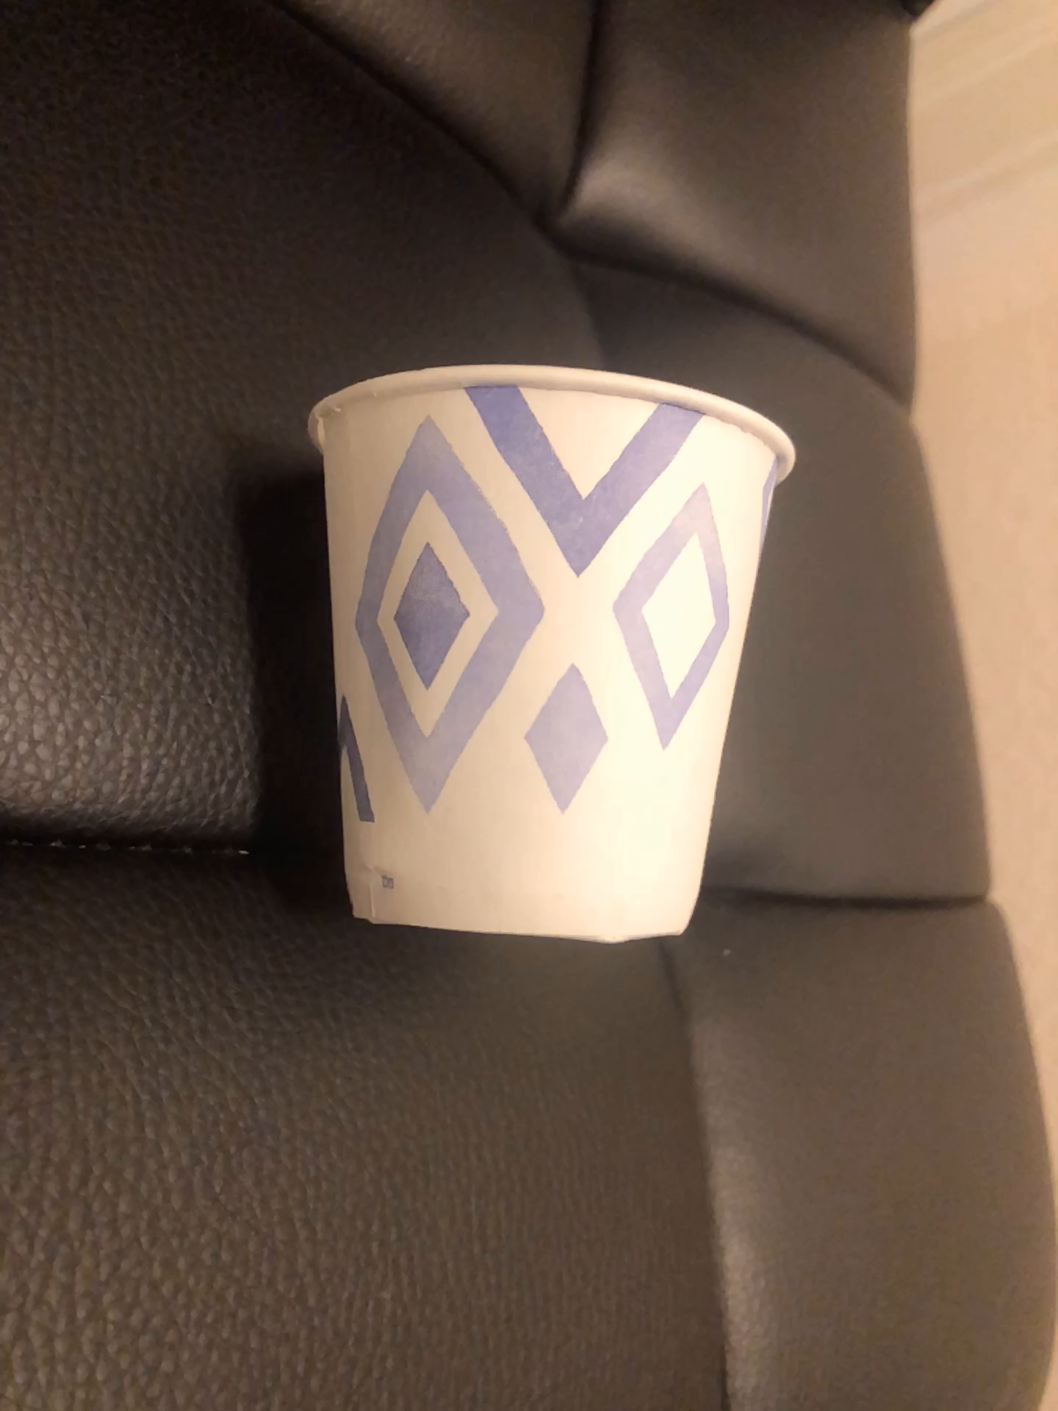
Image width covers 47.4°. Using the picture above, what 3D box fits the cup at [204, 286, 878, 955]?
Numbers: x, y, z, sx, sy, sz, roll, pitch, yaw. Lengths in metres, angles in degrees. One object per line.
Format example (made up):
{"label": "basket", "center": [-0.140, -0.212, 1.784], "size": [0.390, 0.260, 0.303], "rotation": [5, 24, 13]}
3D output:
{"label": "cup", "center": [0.003, -0.005, 0.139], "size": [0.052, 0.049, 0.058], "rotation": [10, 84, -46]}
